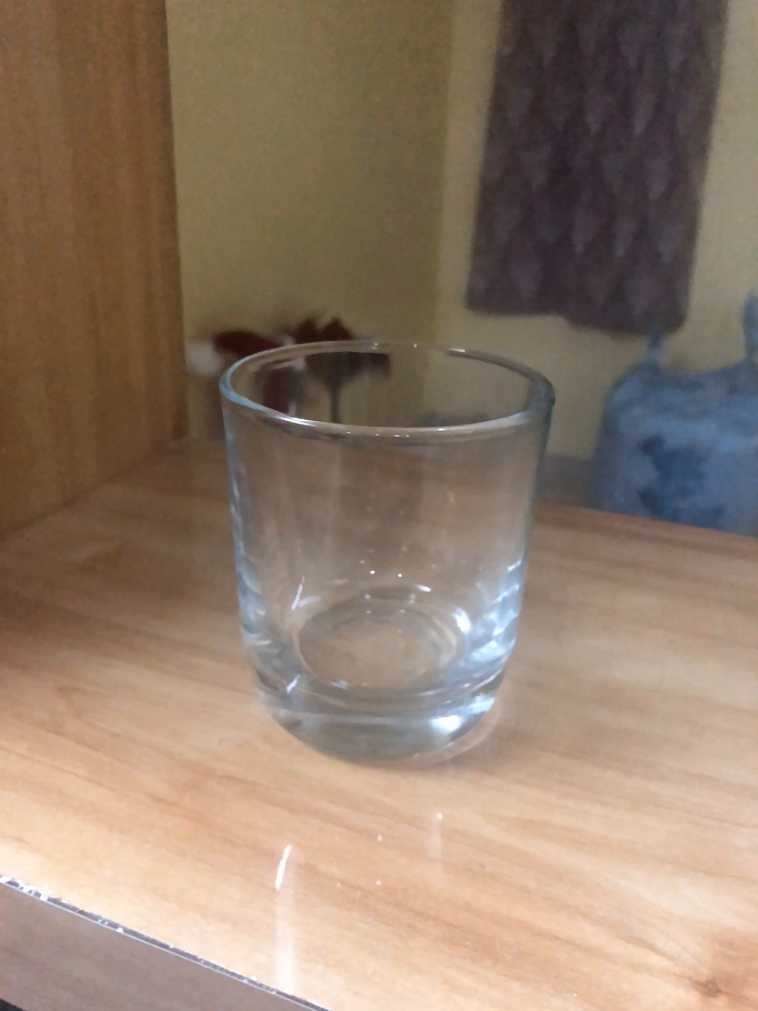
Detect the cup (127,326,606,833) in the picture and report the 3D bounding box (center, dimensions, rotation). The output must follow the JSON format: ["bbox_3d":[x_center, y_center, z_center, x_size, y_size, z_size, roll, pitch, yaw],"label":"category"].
[{"bbox_3d":[-0.006,0.009,0.231,0.080,0.090,0.090,-19,31,-40],"label":"cup"}]
